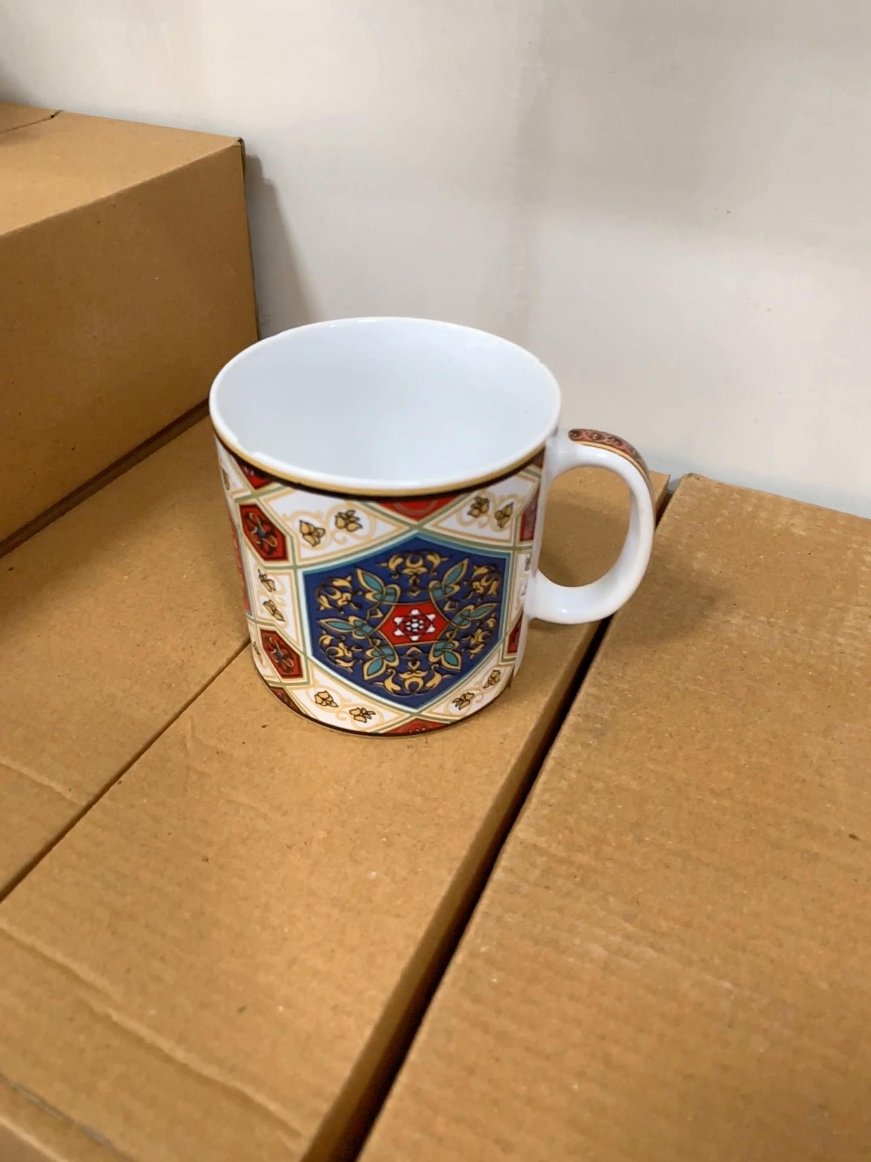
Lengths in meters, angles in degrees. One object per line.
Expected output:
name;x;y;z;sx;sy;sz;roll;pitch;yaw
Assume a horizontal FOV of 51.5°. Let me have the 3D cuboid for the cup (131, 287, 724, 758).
cup;-0.003;-0.015;0.205;0.100;0.069;0.081;2;40;-2
